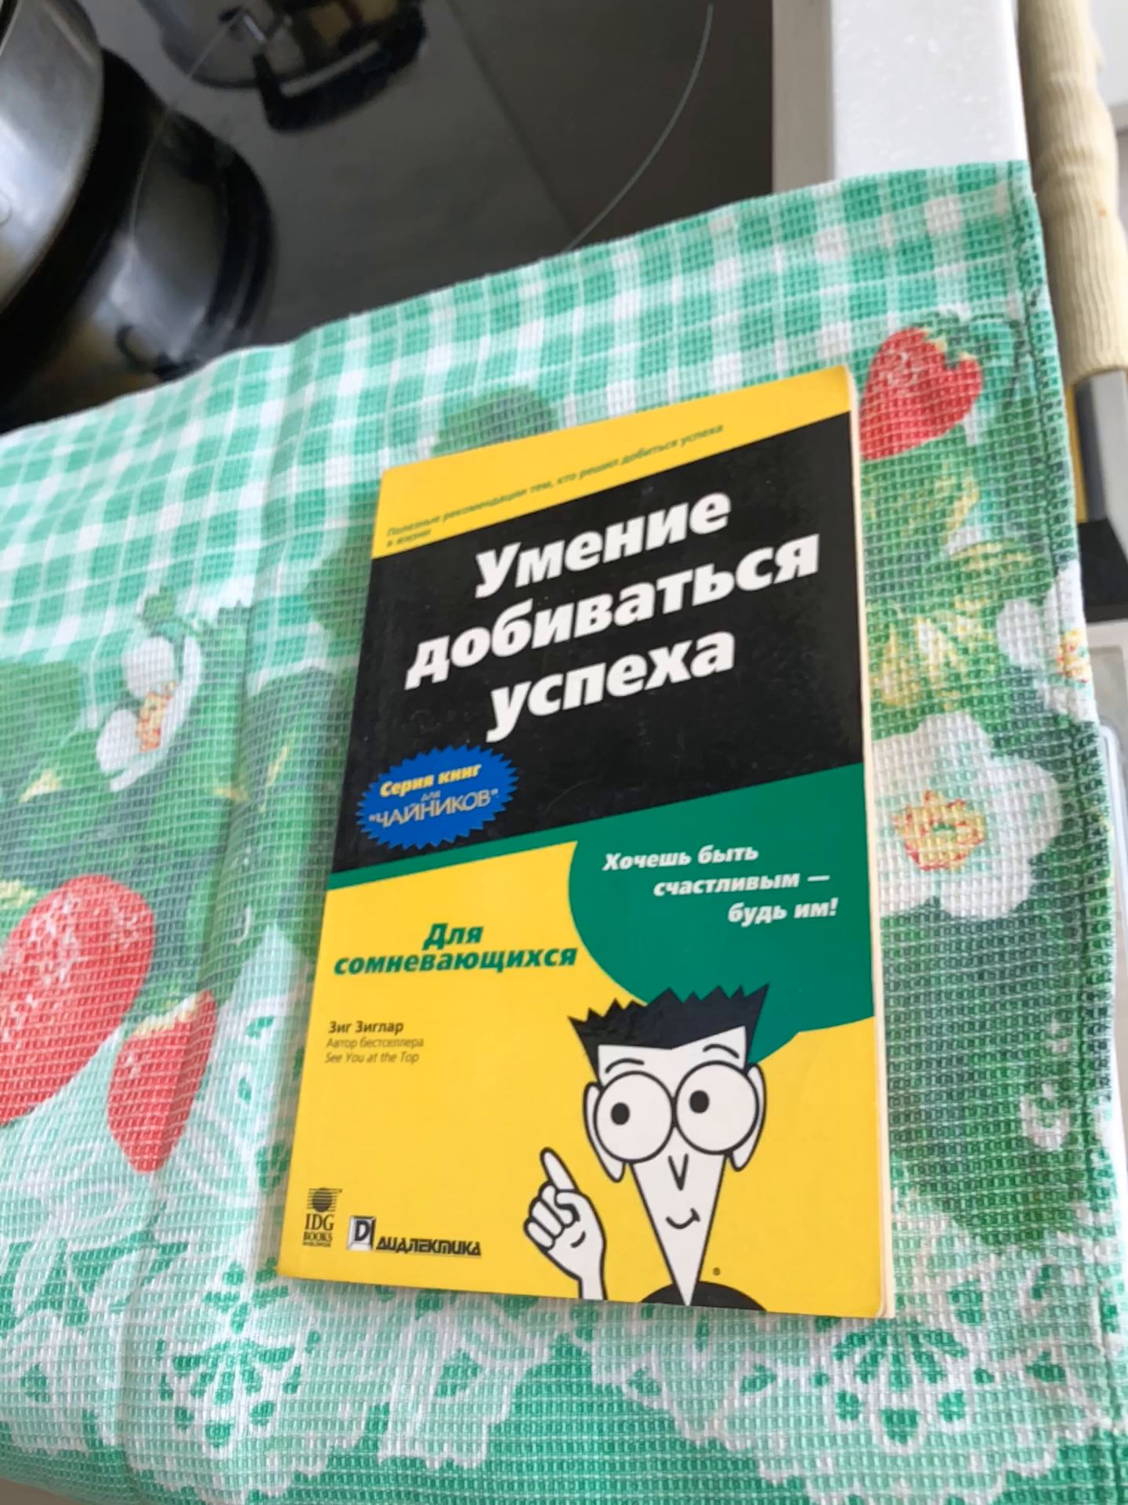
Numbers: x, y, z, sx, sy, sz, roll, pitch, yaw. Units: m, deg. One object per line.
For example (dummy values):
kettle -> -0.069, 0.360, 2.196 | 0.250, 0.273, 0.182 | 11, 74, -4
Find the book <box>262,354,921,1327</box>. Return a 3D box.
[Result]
book -> 0.005, 0.011, 0.242 | 0.113, 0.017, 0.172 | -7, 65, 25
